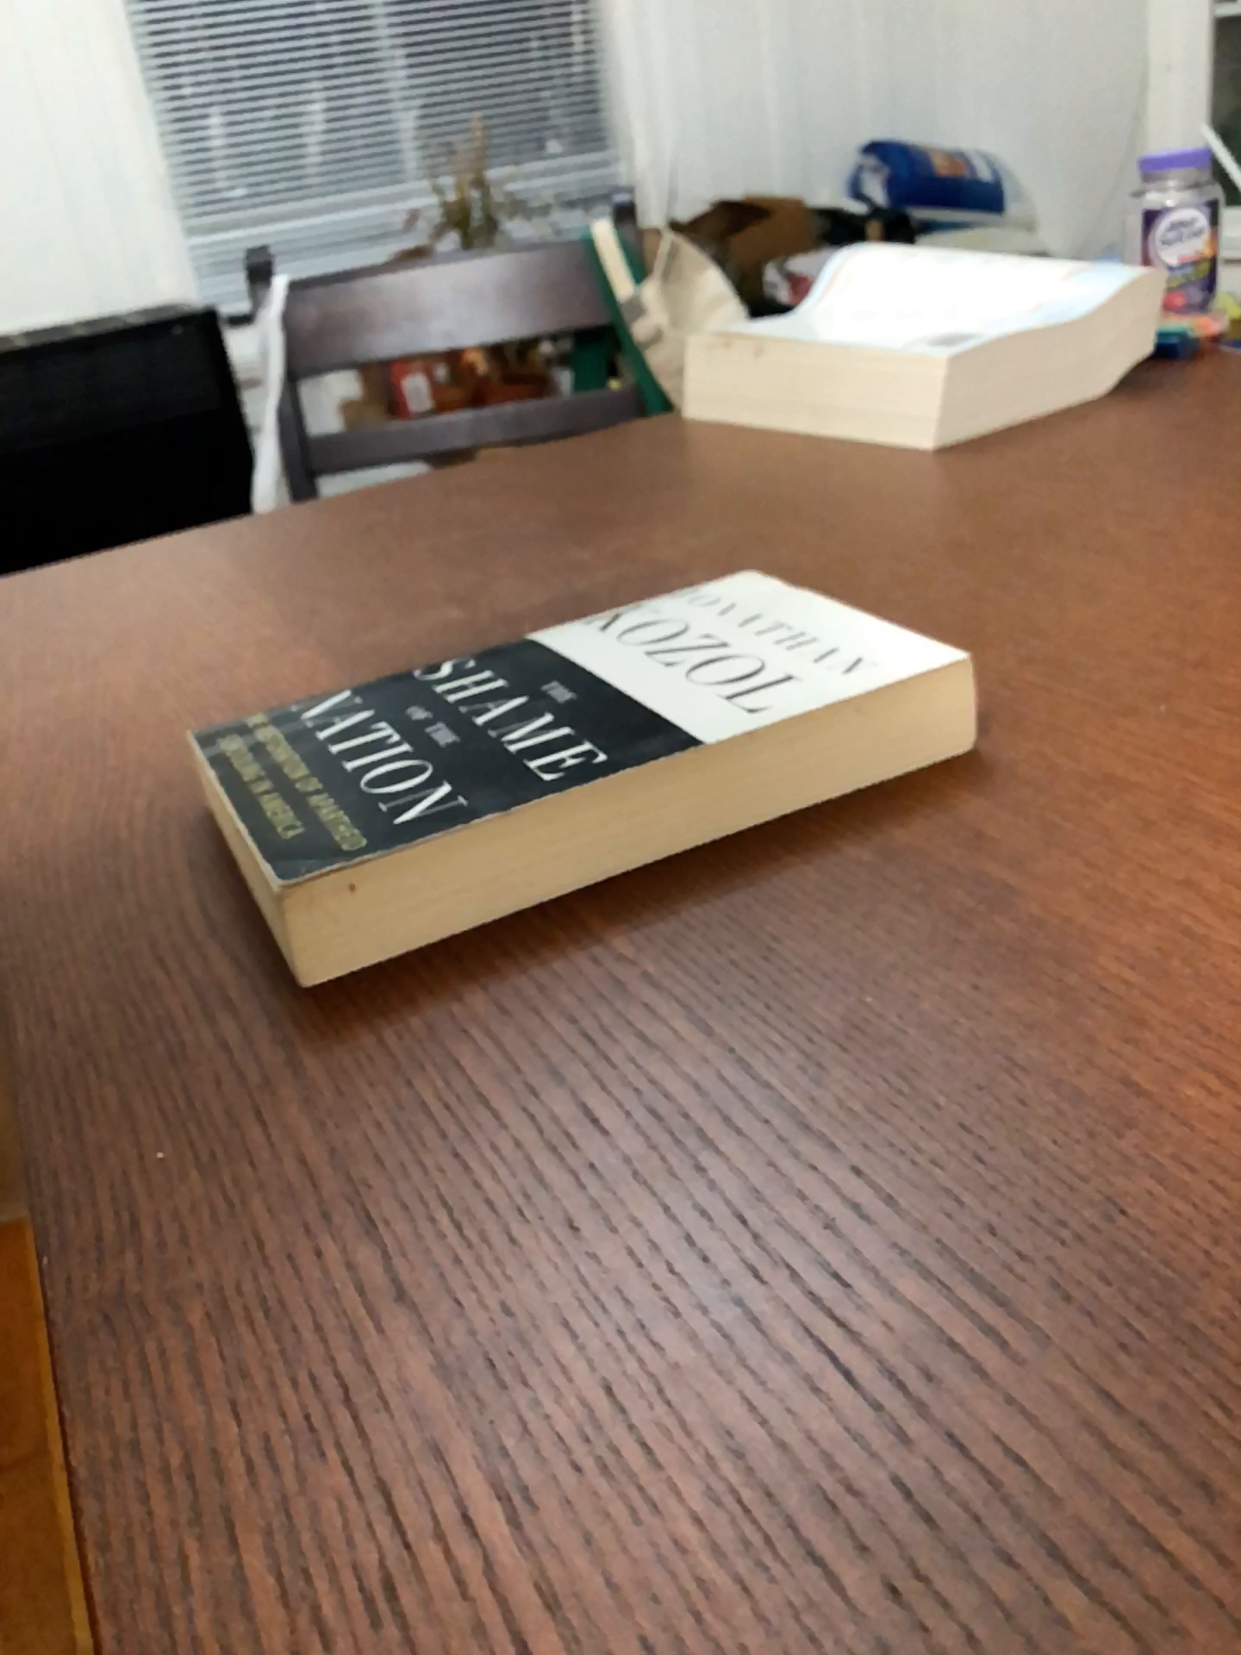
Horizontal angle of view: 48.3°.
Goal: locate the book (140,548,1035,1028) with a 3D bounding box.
[{"bbox_3d":[-0.018,-0.029,0.426,0.230,0.030,0.161,-19,28,-18],"label":"book"}]
